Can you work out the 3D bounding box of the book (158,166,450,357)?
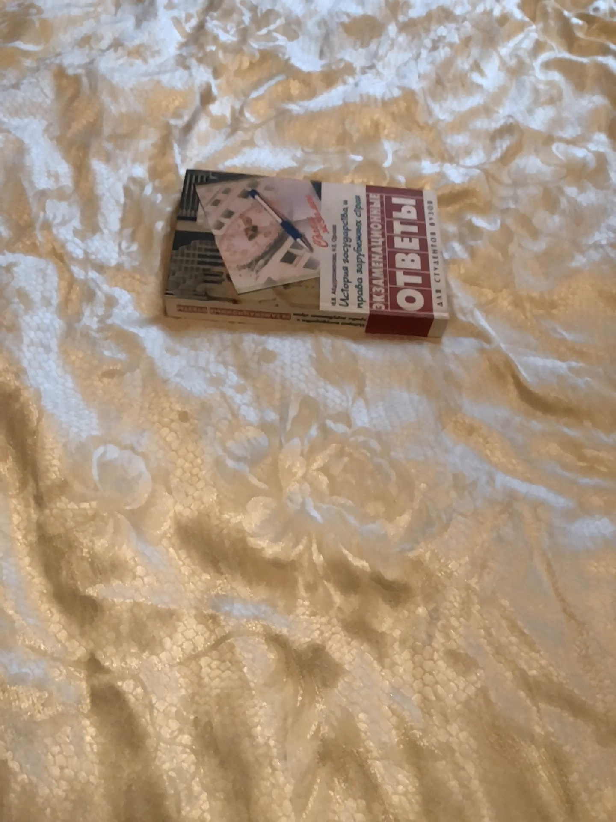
[{"bbox_3d":[0.000,-0.121,0.538,0.210,0.030,0.151,4,60,-3],"label":"book"}]
